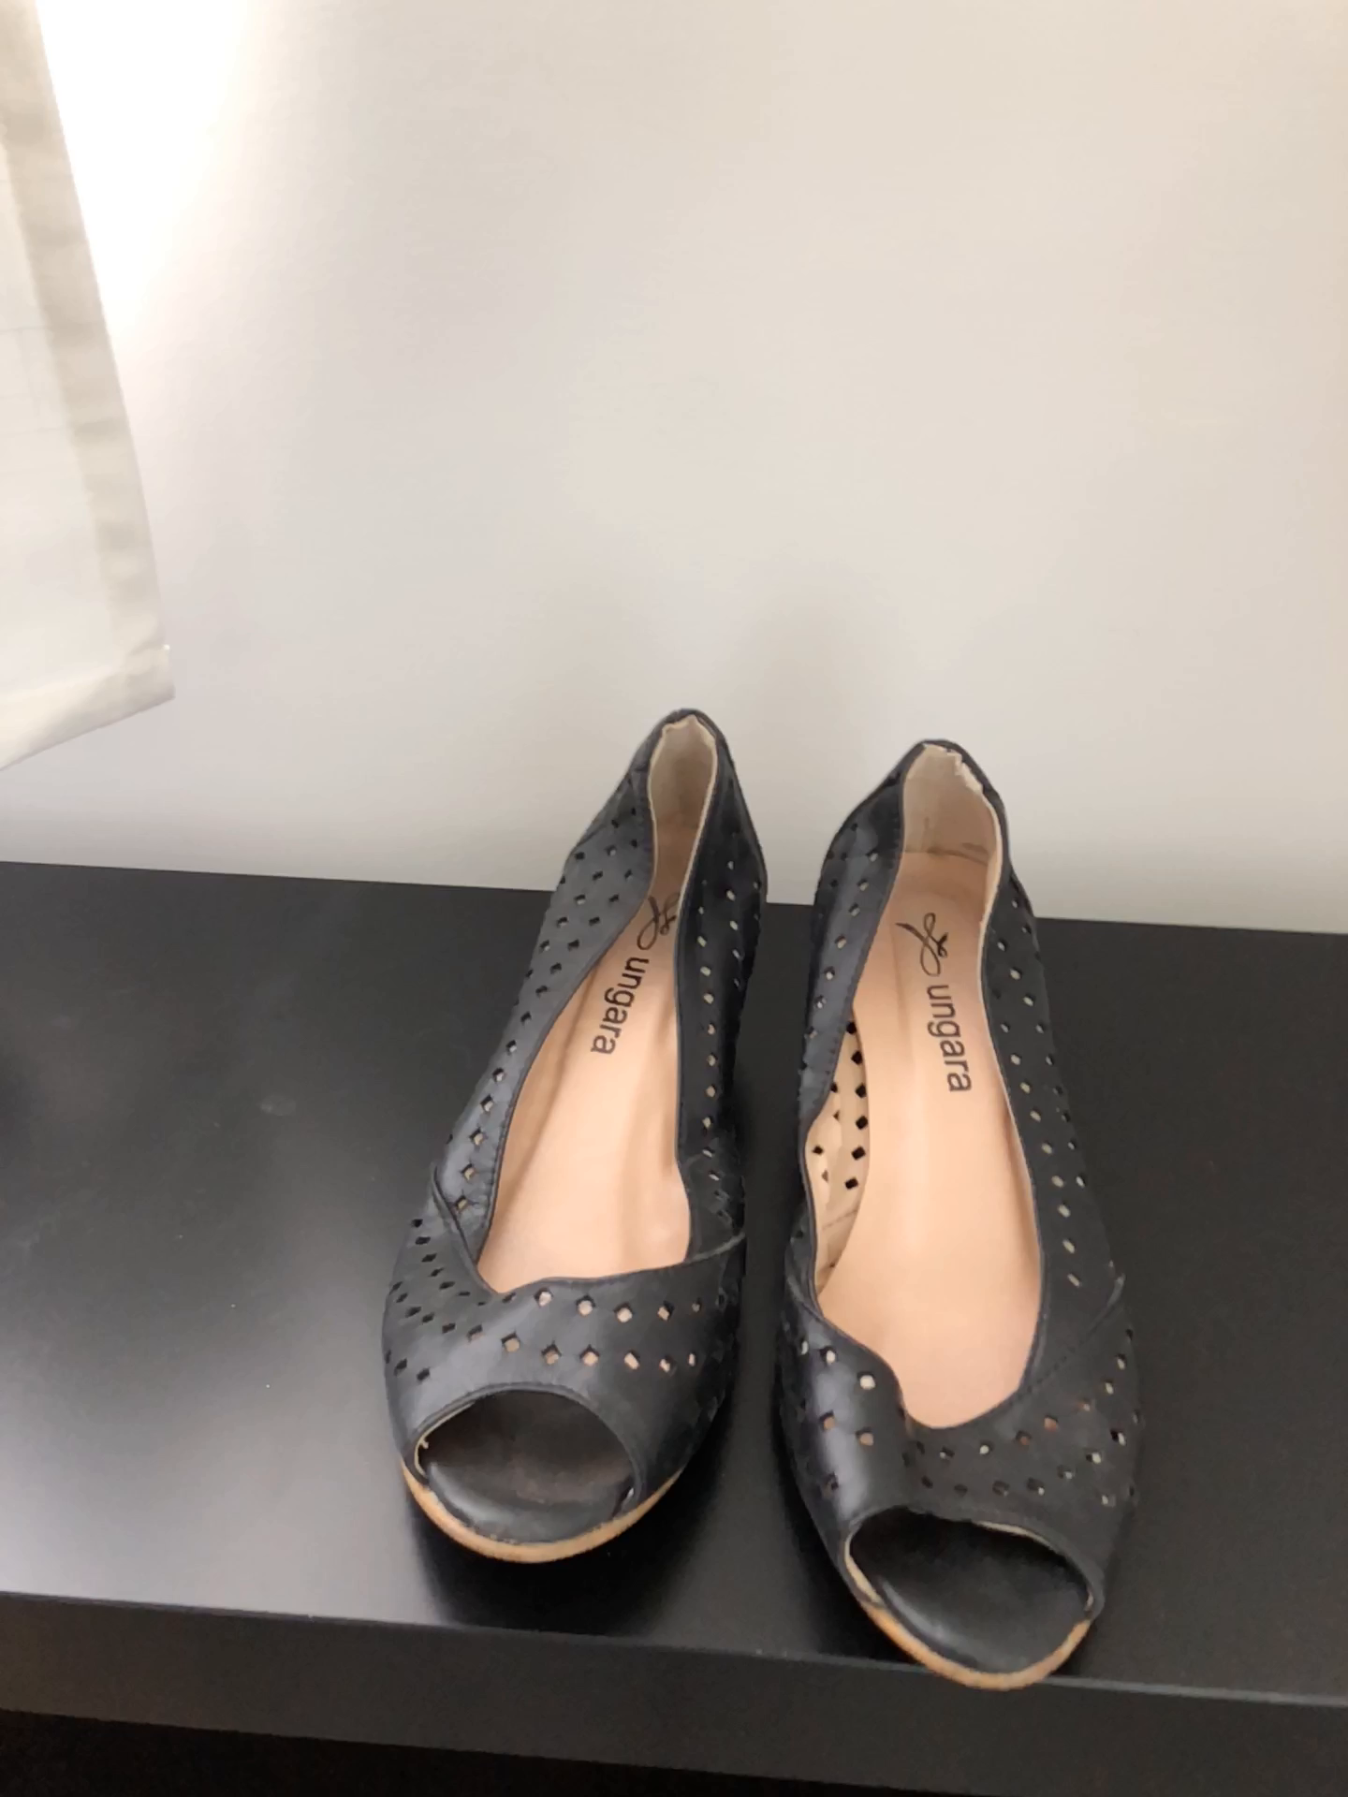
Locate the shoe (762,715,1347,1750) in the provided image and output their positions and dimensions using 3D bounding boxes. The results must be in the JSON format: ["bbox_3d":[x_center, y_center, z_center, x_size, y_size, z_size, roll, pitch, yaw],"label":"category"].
[{"bbox_3d":[0.068,0.056,0.346,0.085,0.100,0.221,3,35,2],"label":"shoe"}]

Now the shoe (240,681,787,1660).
[{"bbox_3d":[-0.021,0.046,0.371,0.085,0.100,0.231,4,35,4],"label":"shoe"}]
